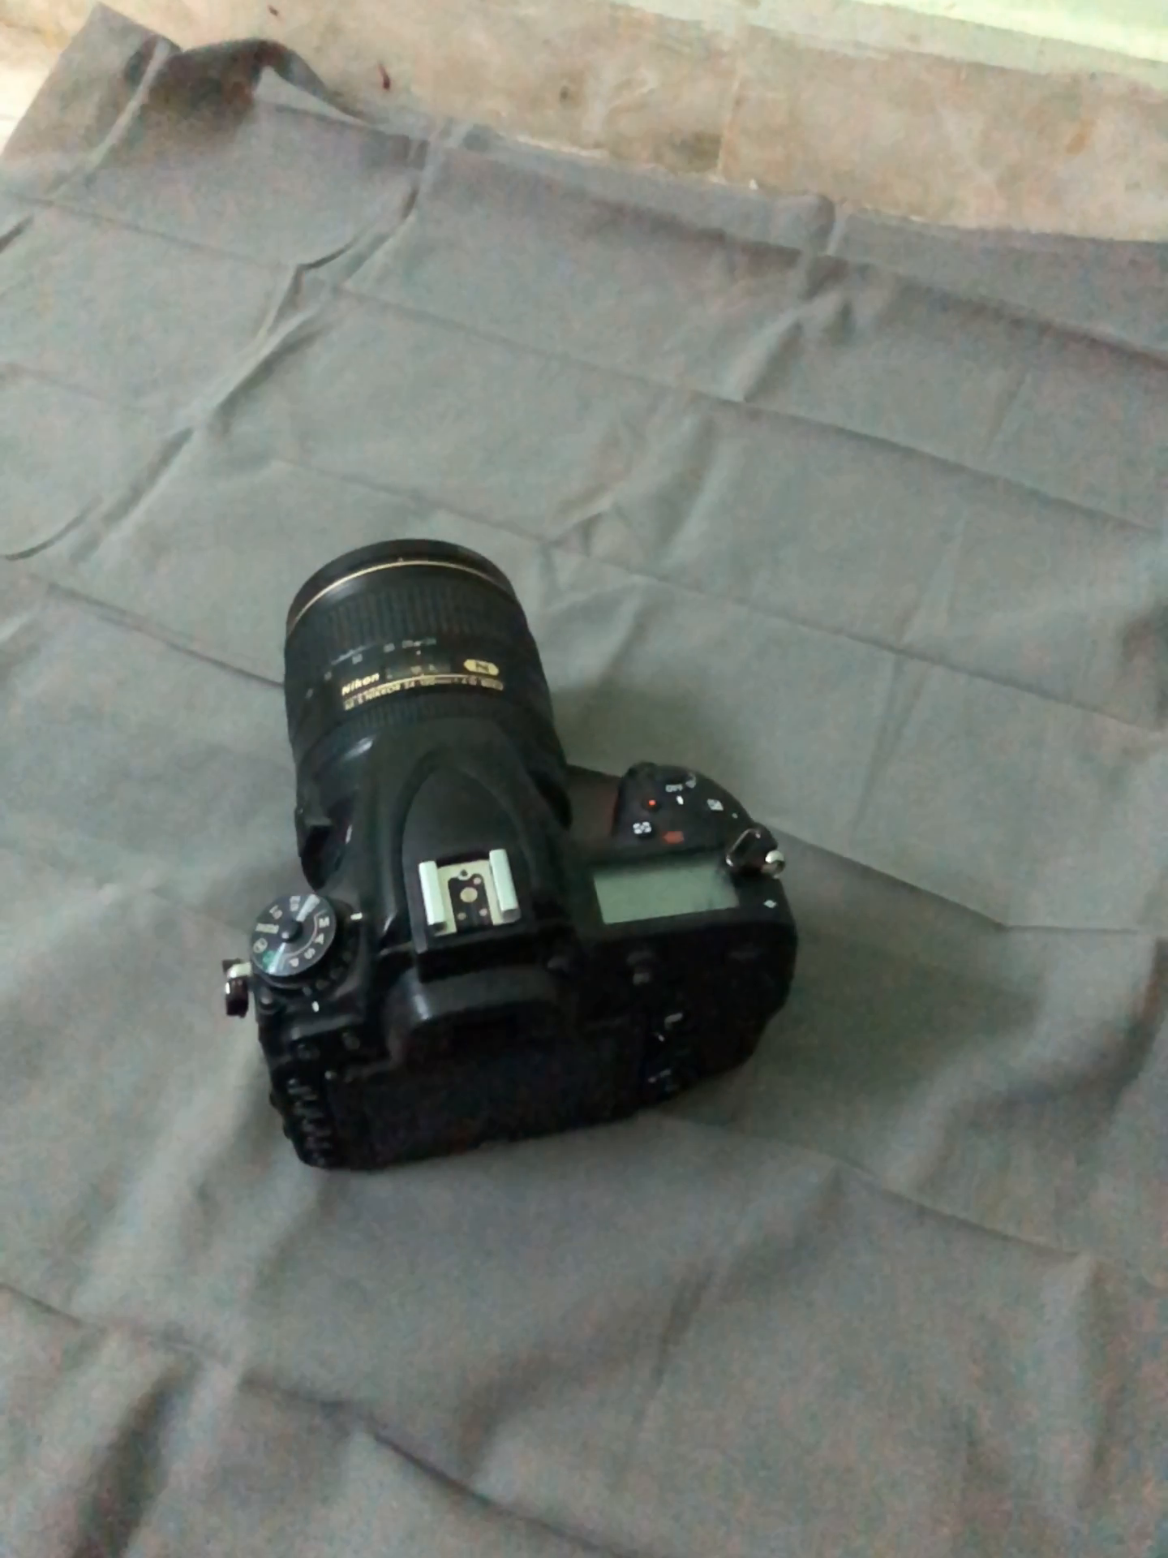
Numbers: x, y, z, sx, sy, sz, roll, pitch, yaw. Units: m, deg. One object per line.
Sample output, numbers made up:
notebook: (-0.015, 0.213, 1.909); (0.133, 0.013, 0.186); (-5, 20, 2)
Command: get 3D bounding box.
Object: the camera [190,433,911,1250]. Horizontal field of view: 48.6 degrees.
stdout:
camera: (-0.021, 0.016, 0.365); (0.146, 0.134, 0.164); (-8, 54, -9)
